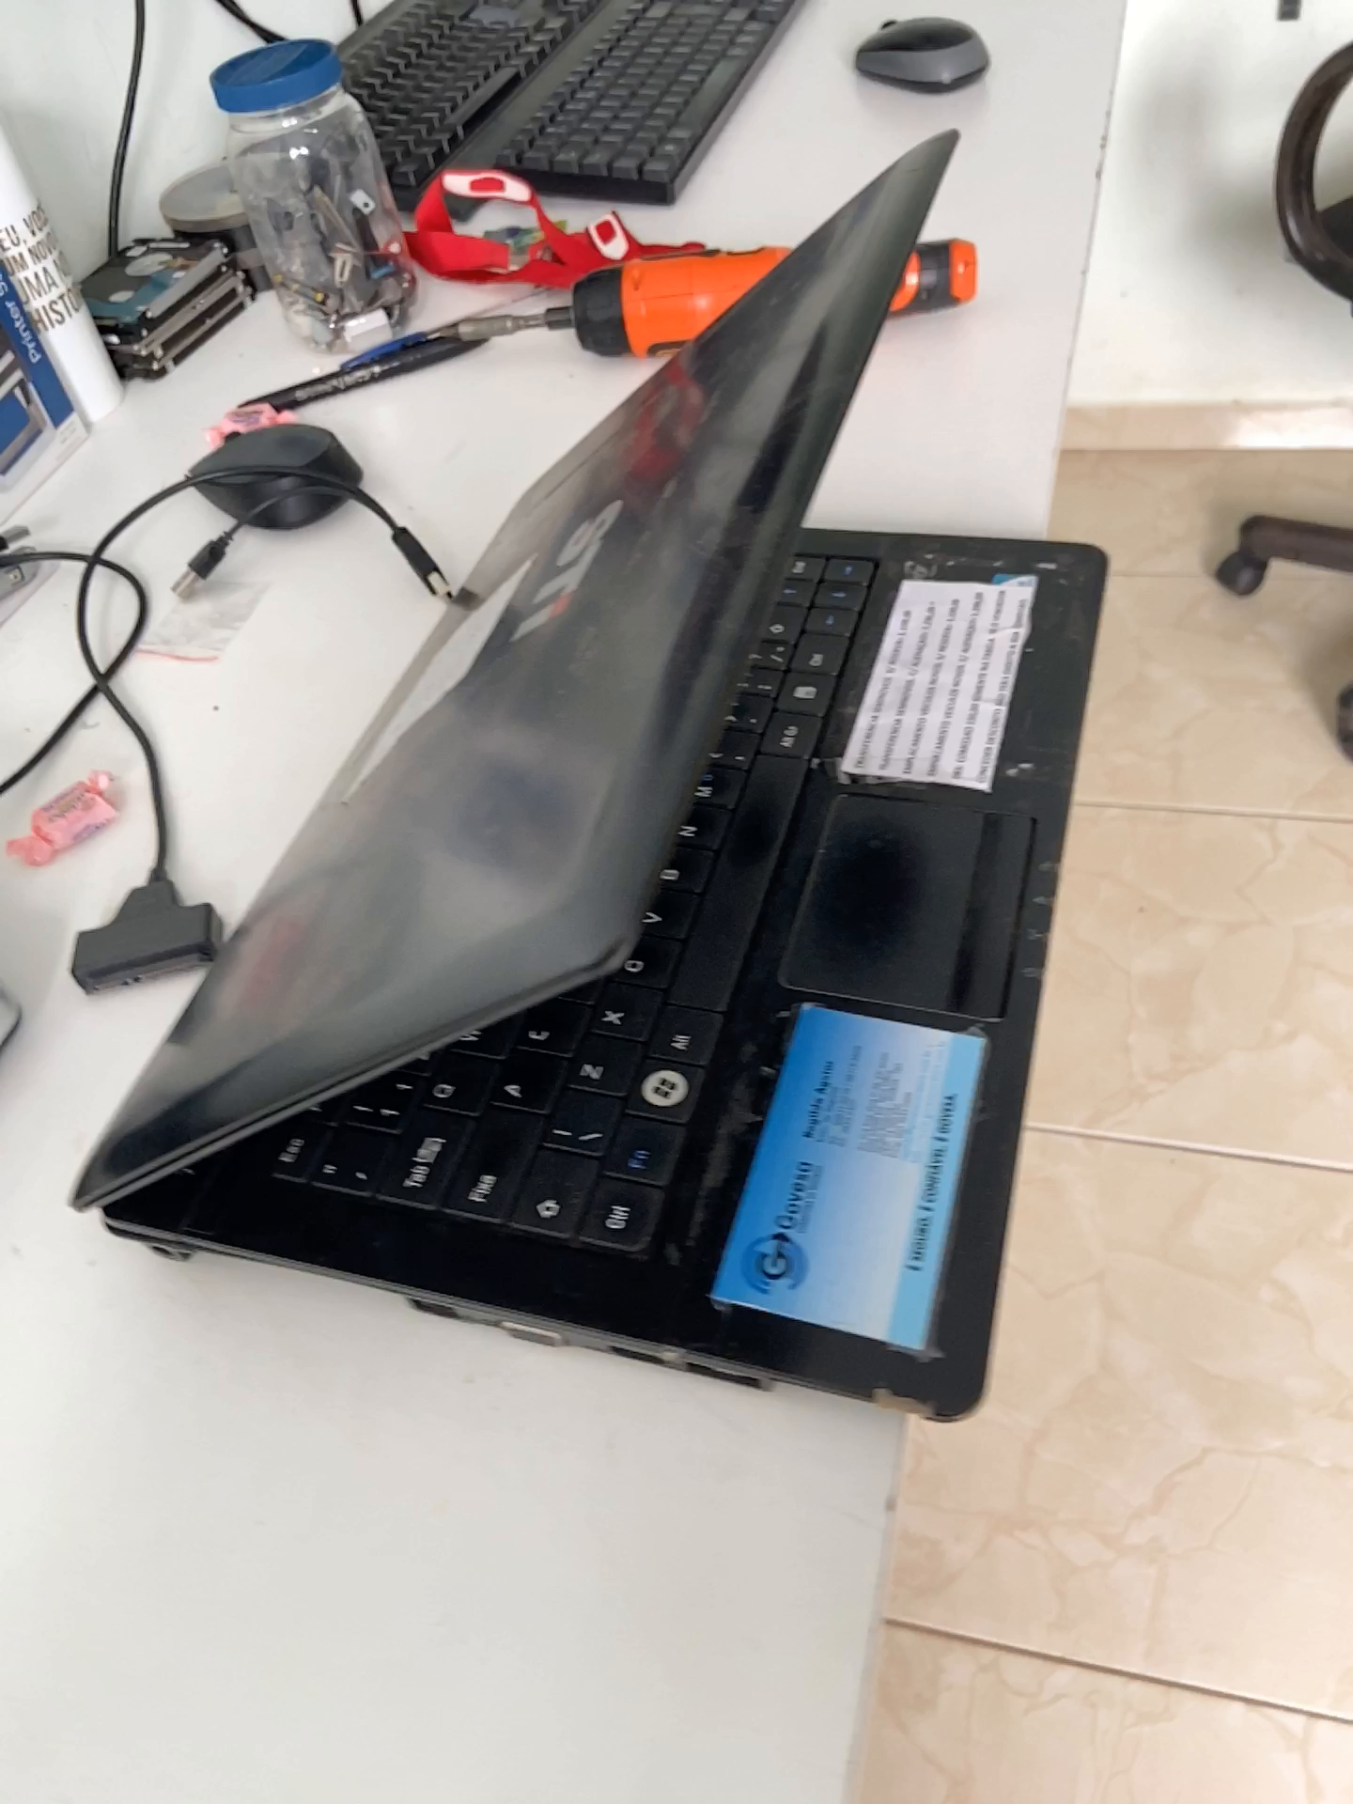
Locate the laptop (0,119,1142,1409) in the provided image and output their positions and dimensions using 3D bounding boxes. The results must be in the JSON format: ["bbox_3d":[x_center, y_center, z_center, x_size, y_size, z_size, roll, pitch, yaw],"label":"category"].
[{"bbox_3d":[-0.007,-0.073,0.394,0.227,0.144,0.337,7,50,17],"label":"laptop"}]
